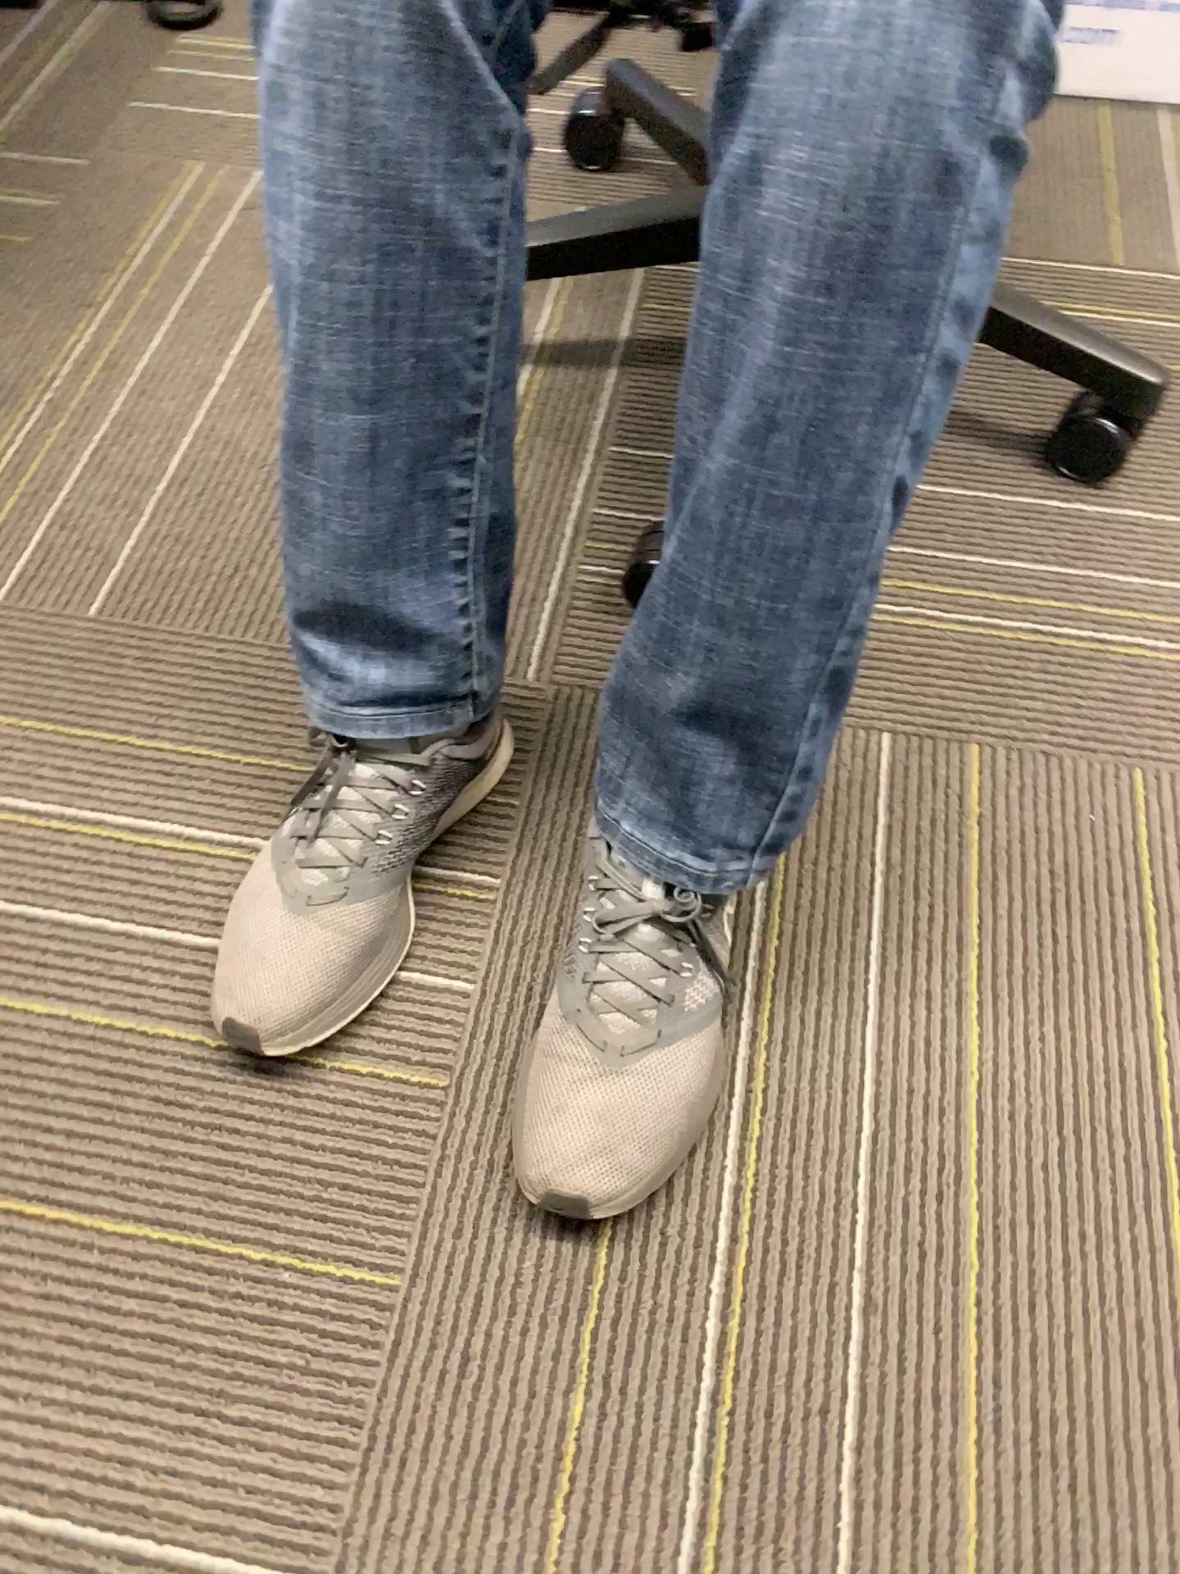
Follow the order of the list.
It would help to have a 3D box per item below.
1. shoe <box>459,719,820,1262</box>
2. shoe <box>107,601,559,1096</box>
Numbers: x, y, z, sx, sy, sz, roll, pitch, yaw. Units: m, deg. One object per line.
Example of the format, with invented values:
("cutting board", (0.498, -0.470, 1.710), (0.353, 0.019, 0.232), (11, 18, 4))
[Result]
("shoe", (0.038, 0.108, 0.707), (0.124, 0.078, 0.287), (16, 57, 10))
("shoe", (-0.144, 0.027, 0.749), (0.132, 0.078, 0.284), (23, 59, 14))
